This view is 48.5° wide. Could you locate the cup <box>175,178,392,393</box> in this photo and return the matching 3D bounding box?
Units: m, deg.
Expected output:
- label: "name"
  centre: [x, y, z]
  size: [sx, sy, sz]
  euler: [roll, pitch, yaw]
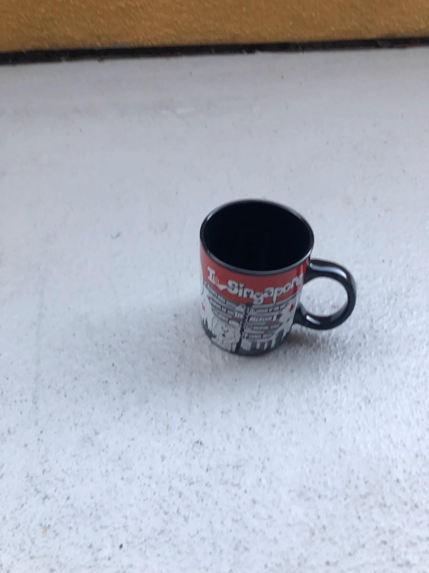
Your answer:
- label: "cup"
  centre: [0.047, 0.000, 0.352]
  size: [0.130, 0.110, 0.080]
  euler: [13, 48, 9]
